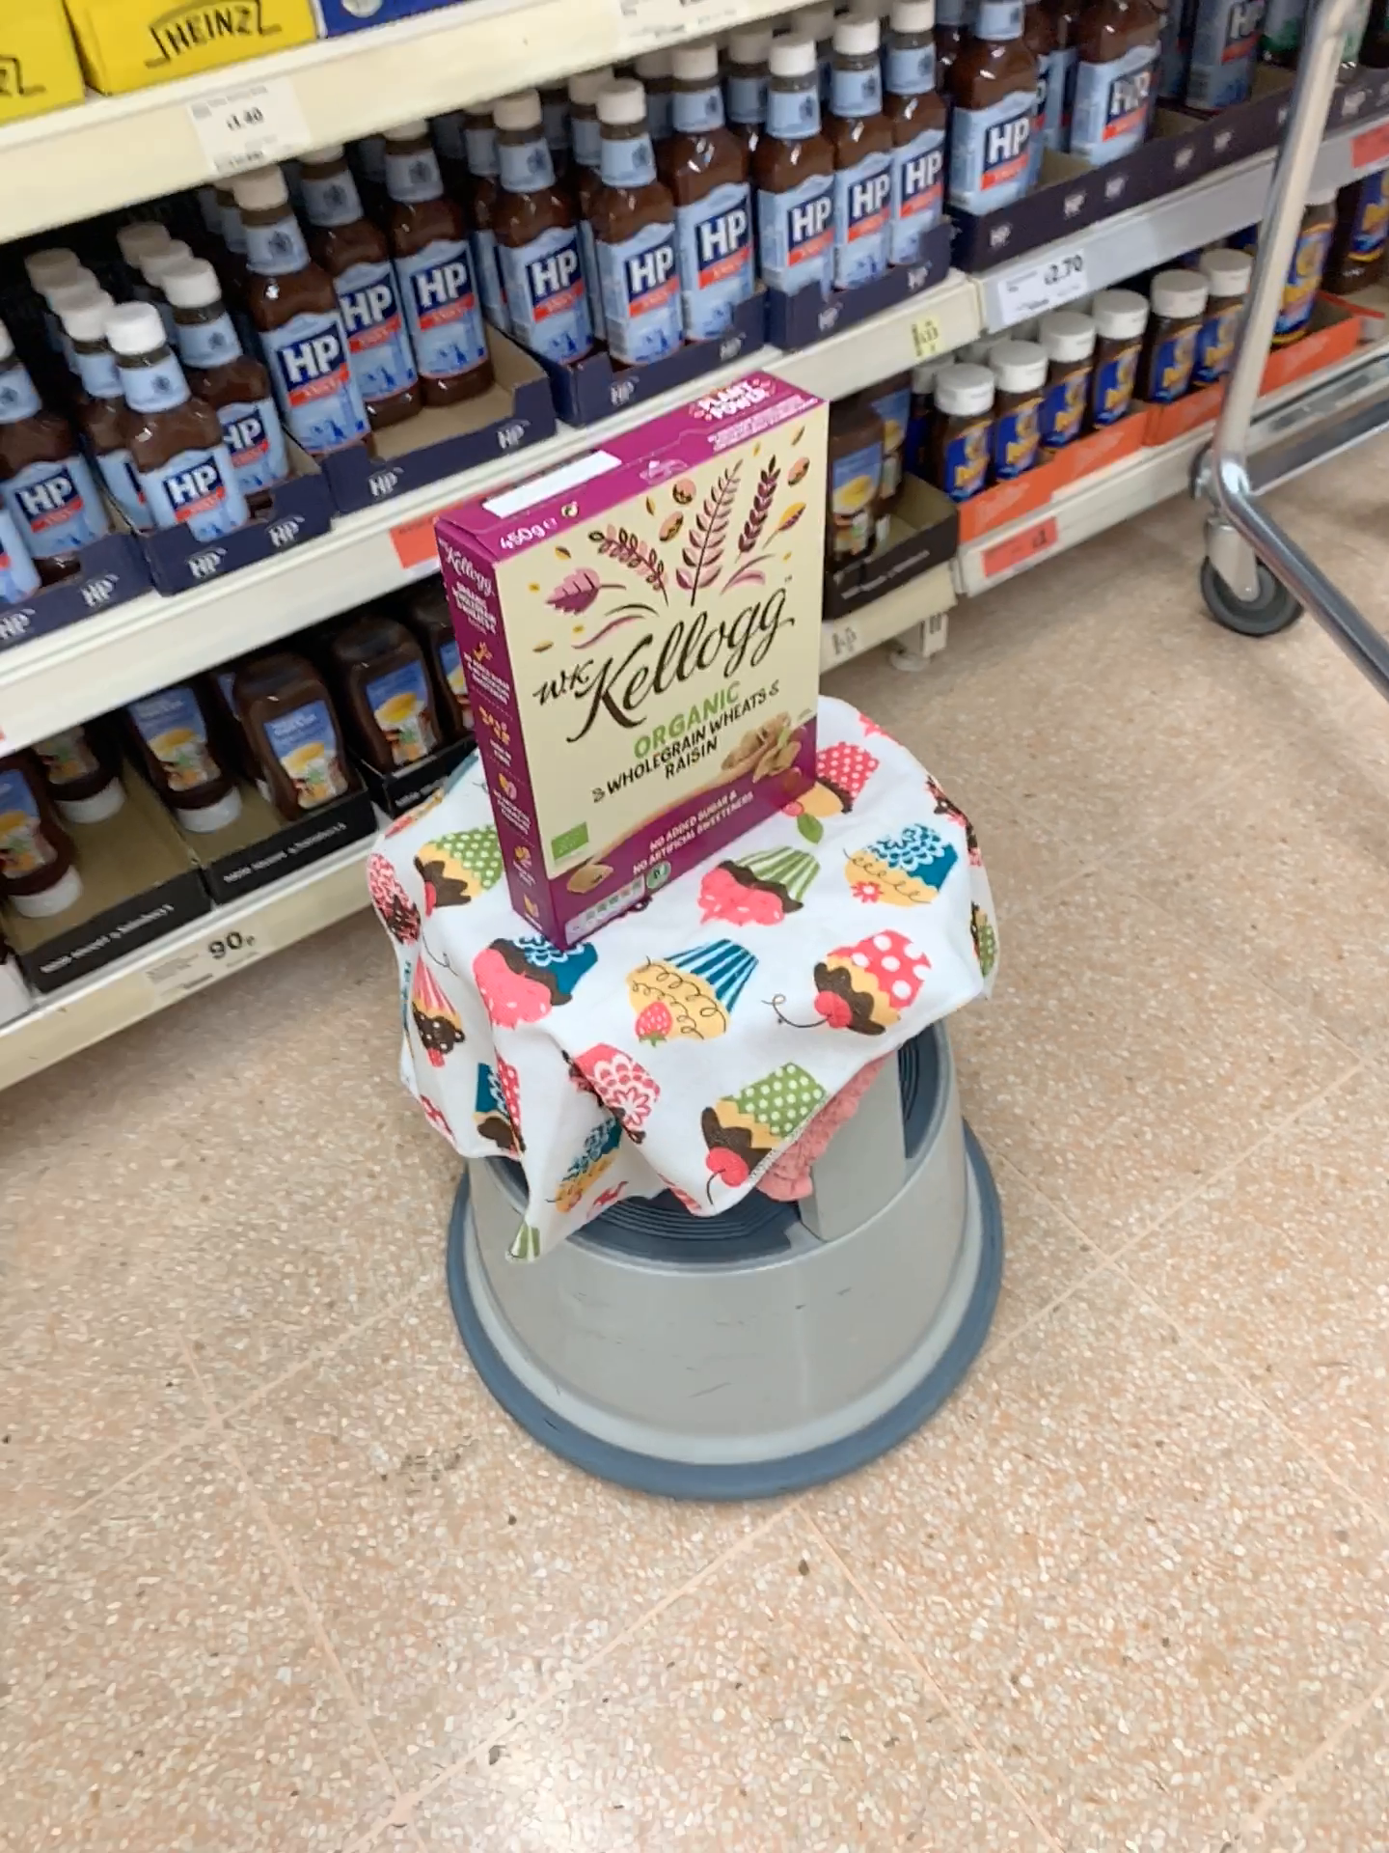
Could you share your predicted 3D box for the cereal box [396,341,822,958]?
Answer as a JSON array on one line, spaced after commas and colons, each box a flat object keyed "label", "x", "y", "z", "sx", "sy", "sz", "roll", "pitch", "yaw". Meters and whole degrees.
[{"label": "cereal box", "x": -0.026, "y": -0.132, "z": 0.718, "sx": 0.201, "sy": 0.248, "sz": 0.050, "roll": -34, "pitch": 53, "yaw": -24}]
